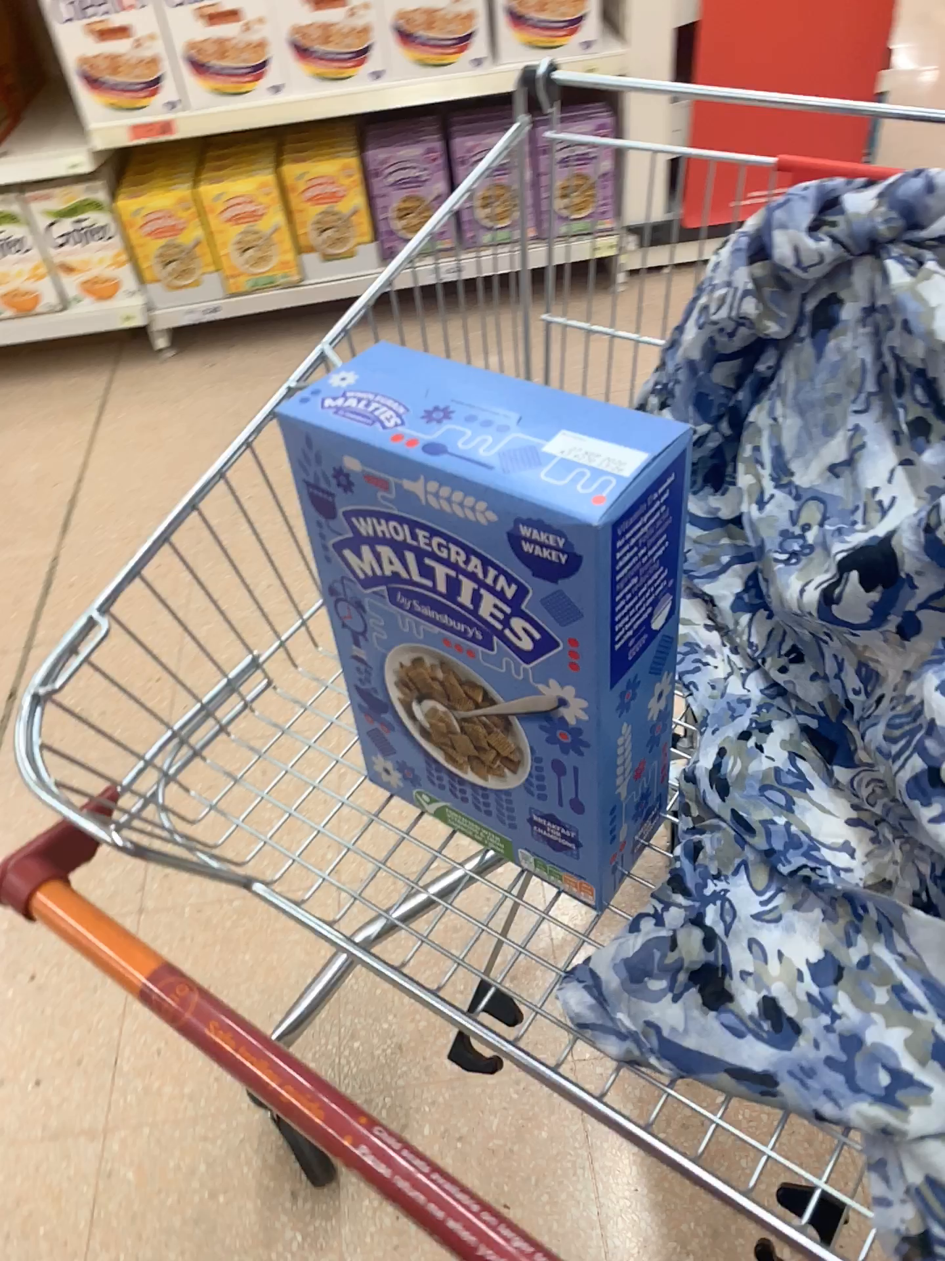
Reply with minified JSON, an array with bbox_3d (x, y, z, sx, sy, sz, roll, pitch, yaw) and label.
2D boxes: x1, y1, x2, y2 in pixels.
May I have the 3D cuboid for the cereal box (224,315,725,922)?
[{"bbox_3d":[0.004,-0.001,0.540,0.221,0.287,0.091,23,50,28],"label":"cereal box"}]
